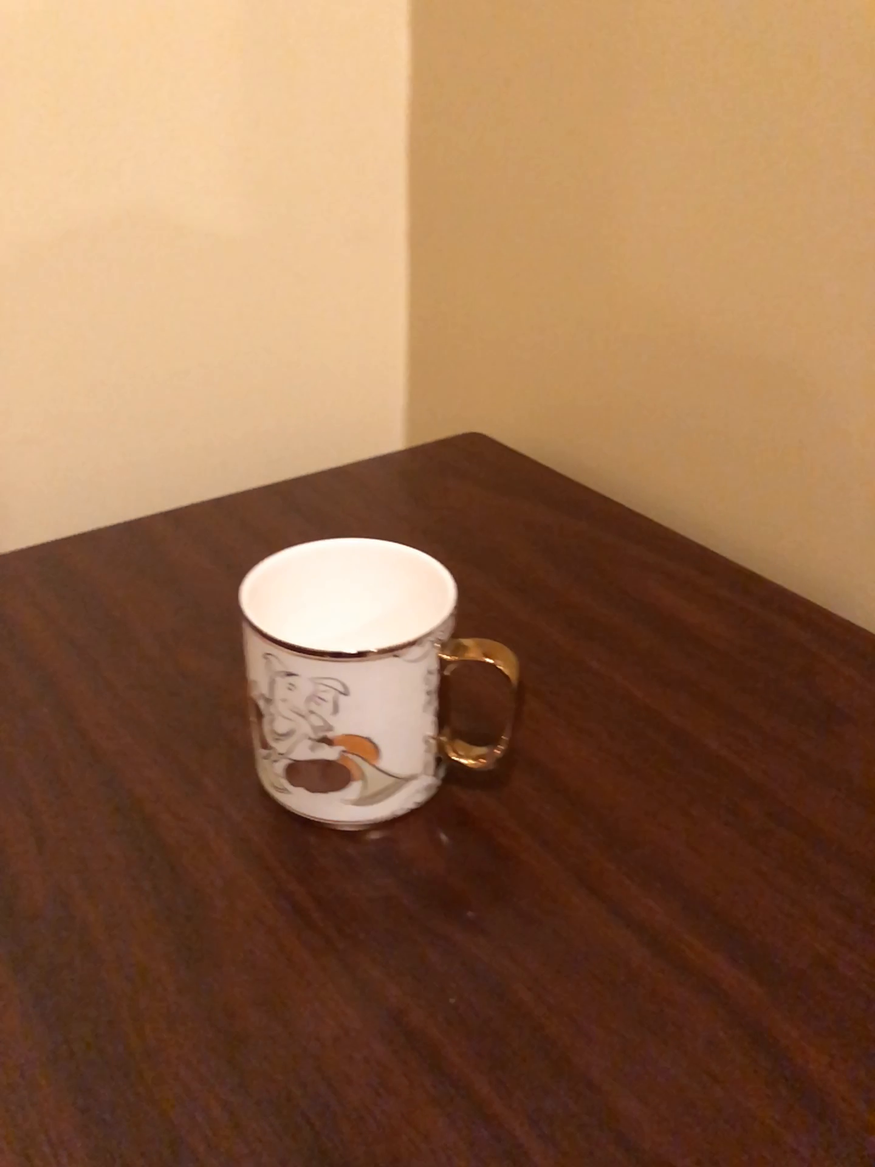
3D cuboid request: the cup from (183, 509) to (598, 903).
[{"bbox_3d":[-0.015,0.045,0.409,0.140,0.099,0.100,10,31,13],"label":"cup"}]
